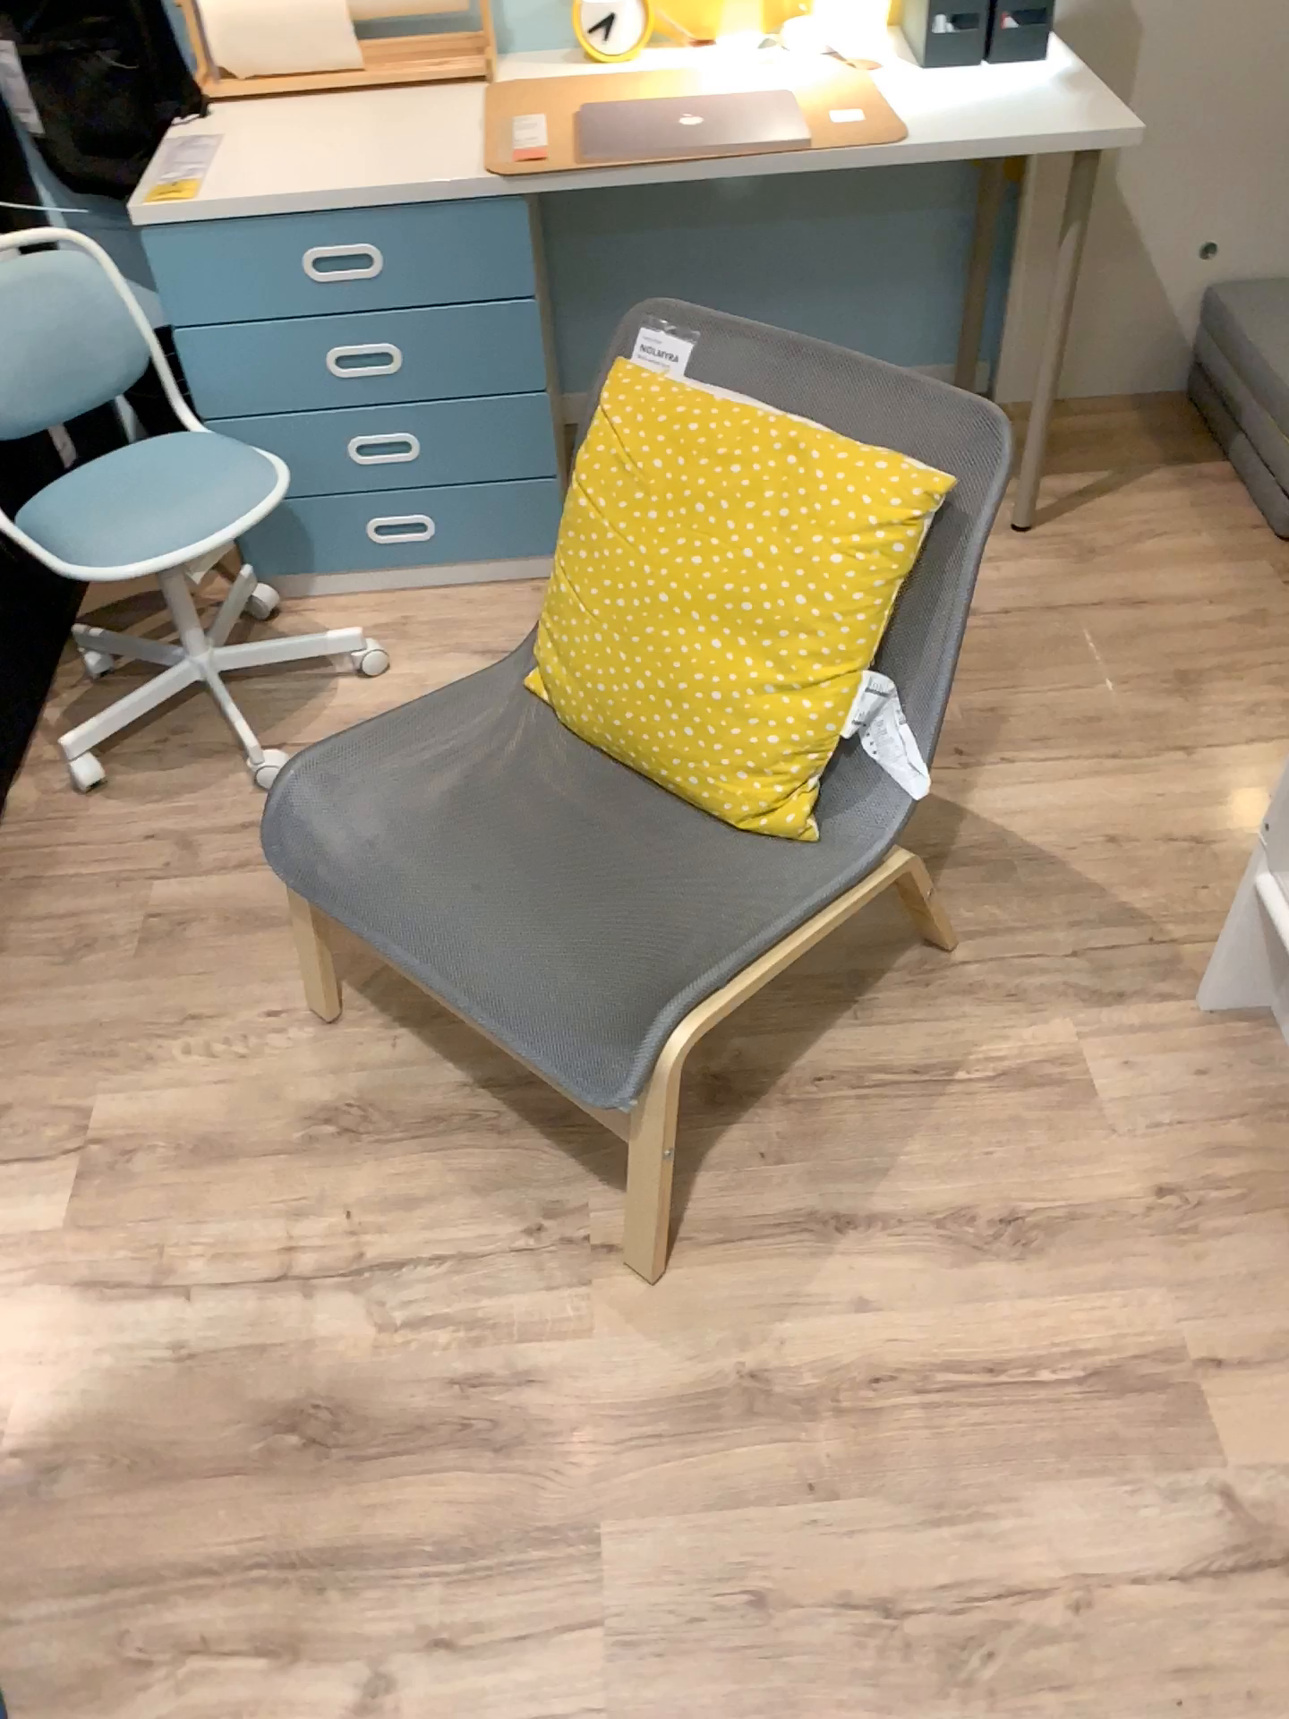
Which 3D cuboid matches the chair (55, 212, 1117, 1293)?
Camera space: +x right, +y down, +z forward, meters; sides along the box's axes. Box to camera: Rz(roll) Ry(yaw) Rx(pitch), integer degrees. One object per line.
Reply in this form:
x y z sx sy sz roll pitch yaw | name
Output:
-0.027 -0.147 1.375 0.632 0.707 0.671 30 54 30 | chair
